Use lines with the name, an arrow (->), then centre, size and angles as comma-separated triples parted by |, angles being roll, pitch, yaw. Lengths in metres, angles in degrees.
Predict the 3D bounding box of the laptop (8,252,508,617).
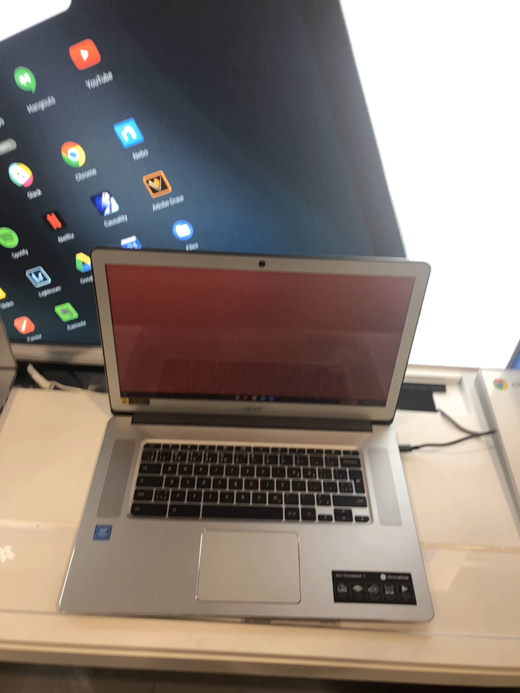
laptop -> -0.005, 0.090, 0.609 | 0.371, 0.243, 0.283 | 2, 43, -3
